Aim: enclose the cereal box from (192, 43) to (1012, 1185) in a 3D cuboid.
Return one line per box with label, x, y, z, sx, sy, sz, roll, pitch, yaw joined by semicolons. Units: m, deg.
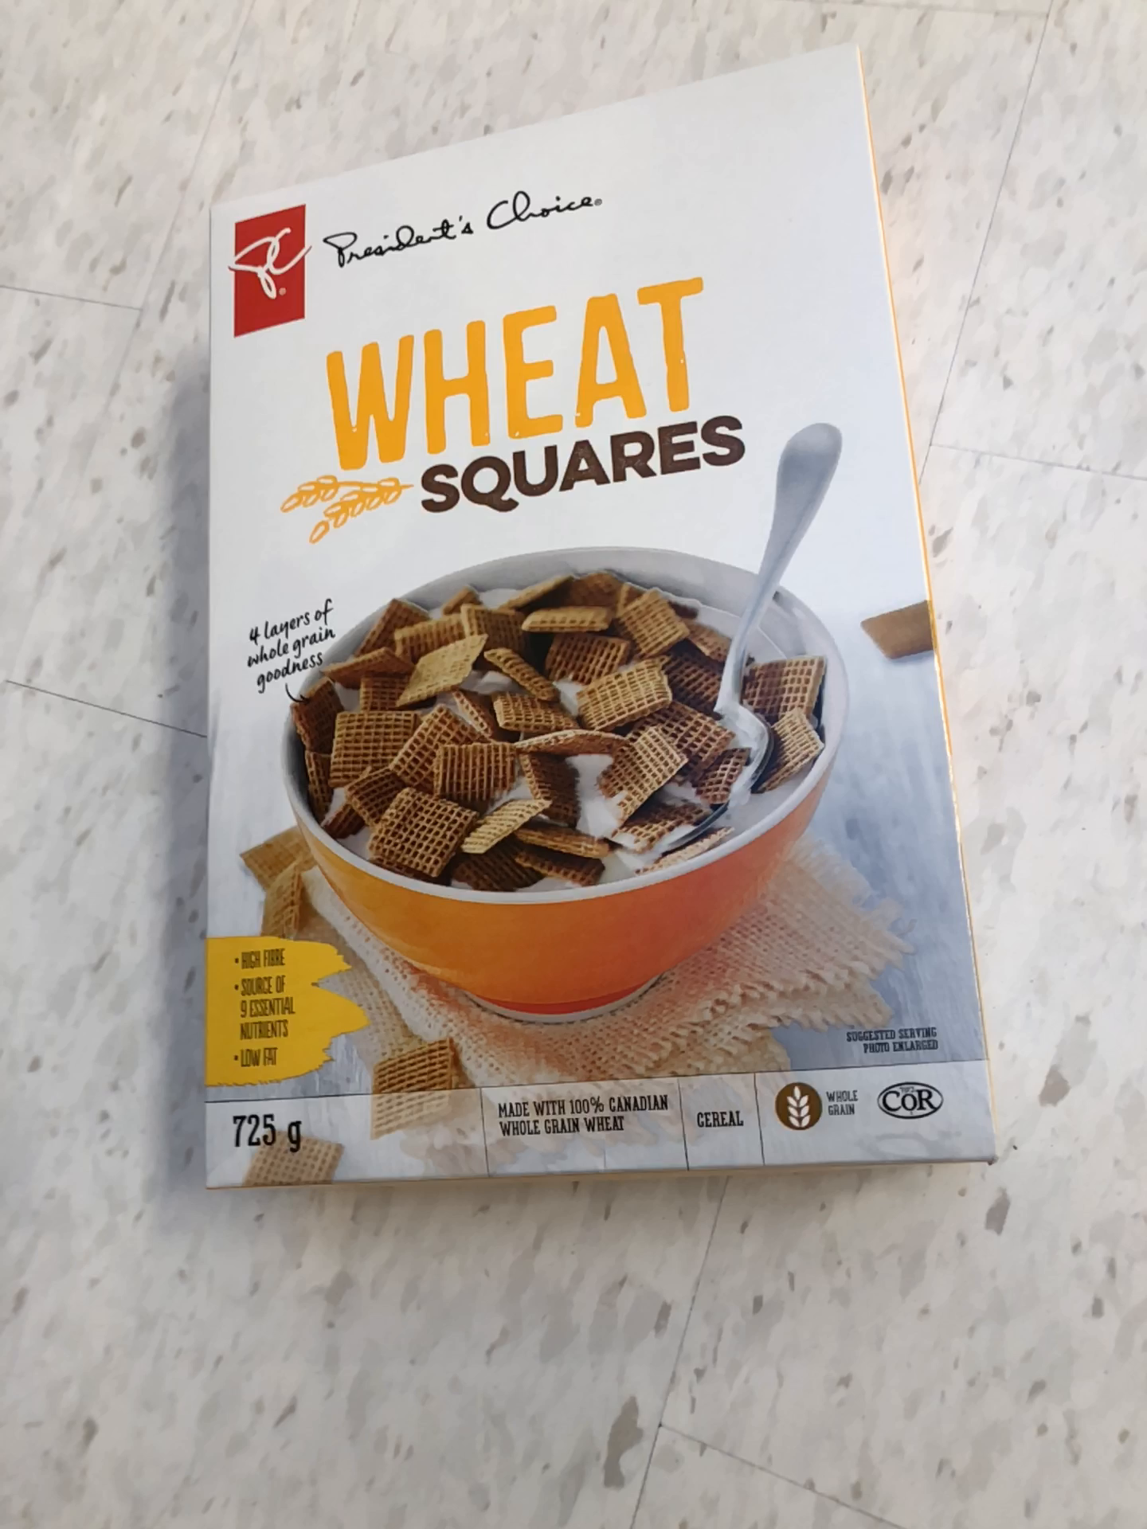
cereal box;0.001;-0.036;0.371;0.200;0.080;0.290;-7;76;14
